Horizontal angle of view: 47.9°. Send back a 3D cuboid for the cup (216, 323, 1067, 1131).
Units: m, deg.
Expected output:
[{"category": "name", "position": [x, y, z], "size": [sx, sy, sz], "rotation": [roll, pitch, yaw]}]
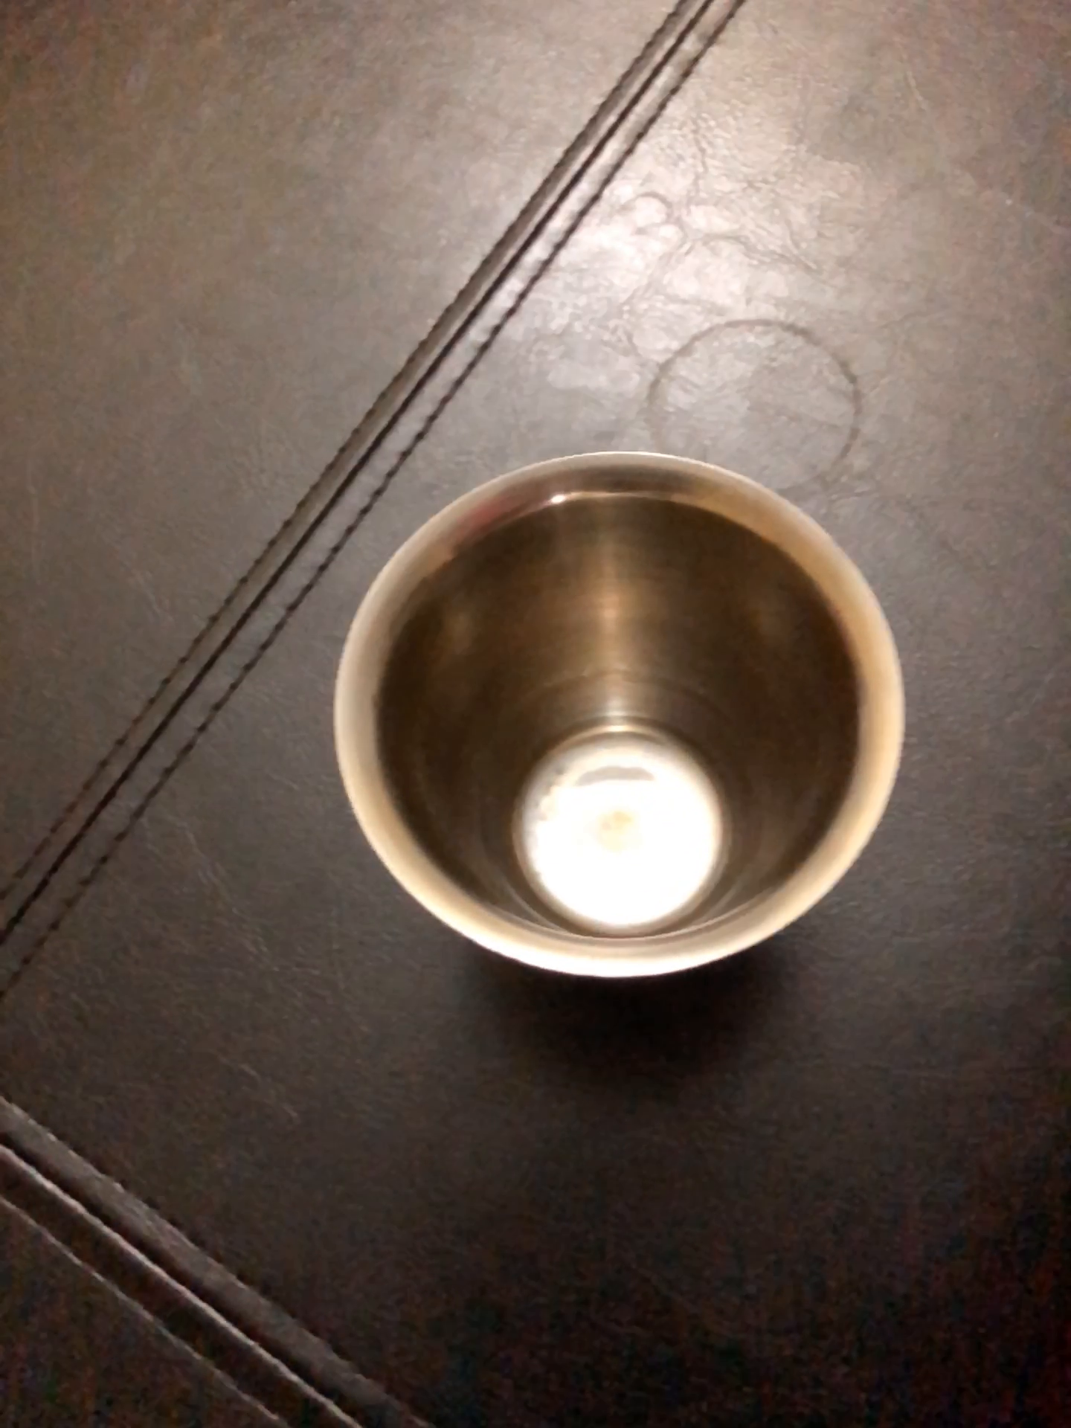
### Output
[{"category": "cup", "position": [0.014, 0.004, 0.166], "size": [0.074, 0.053, 0.067], "rotation": [-2, 70, 6]}]
